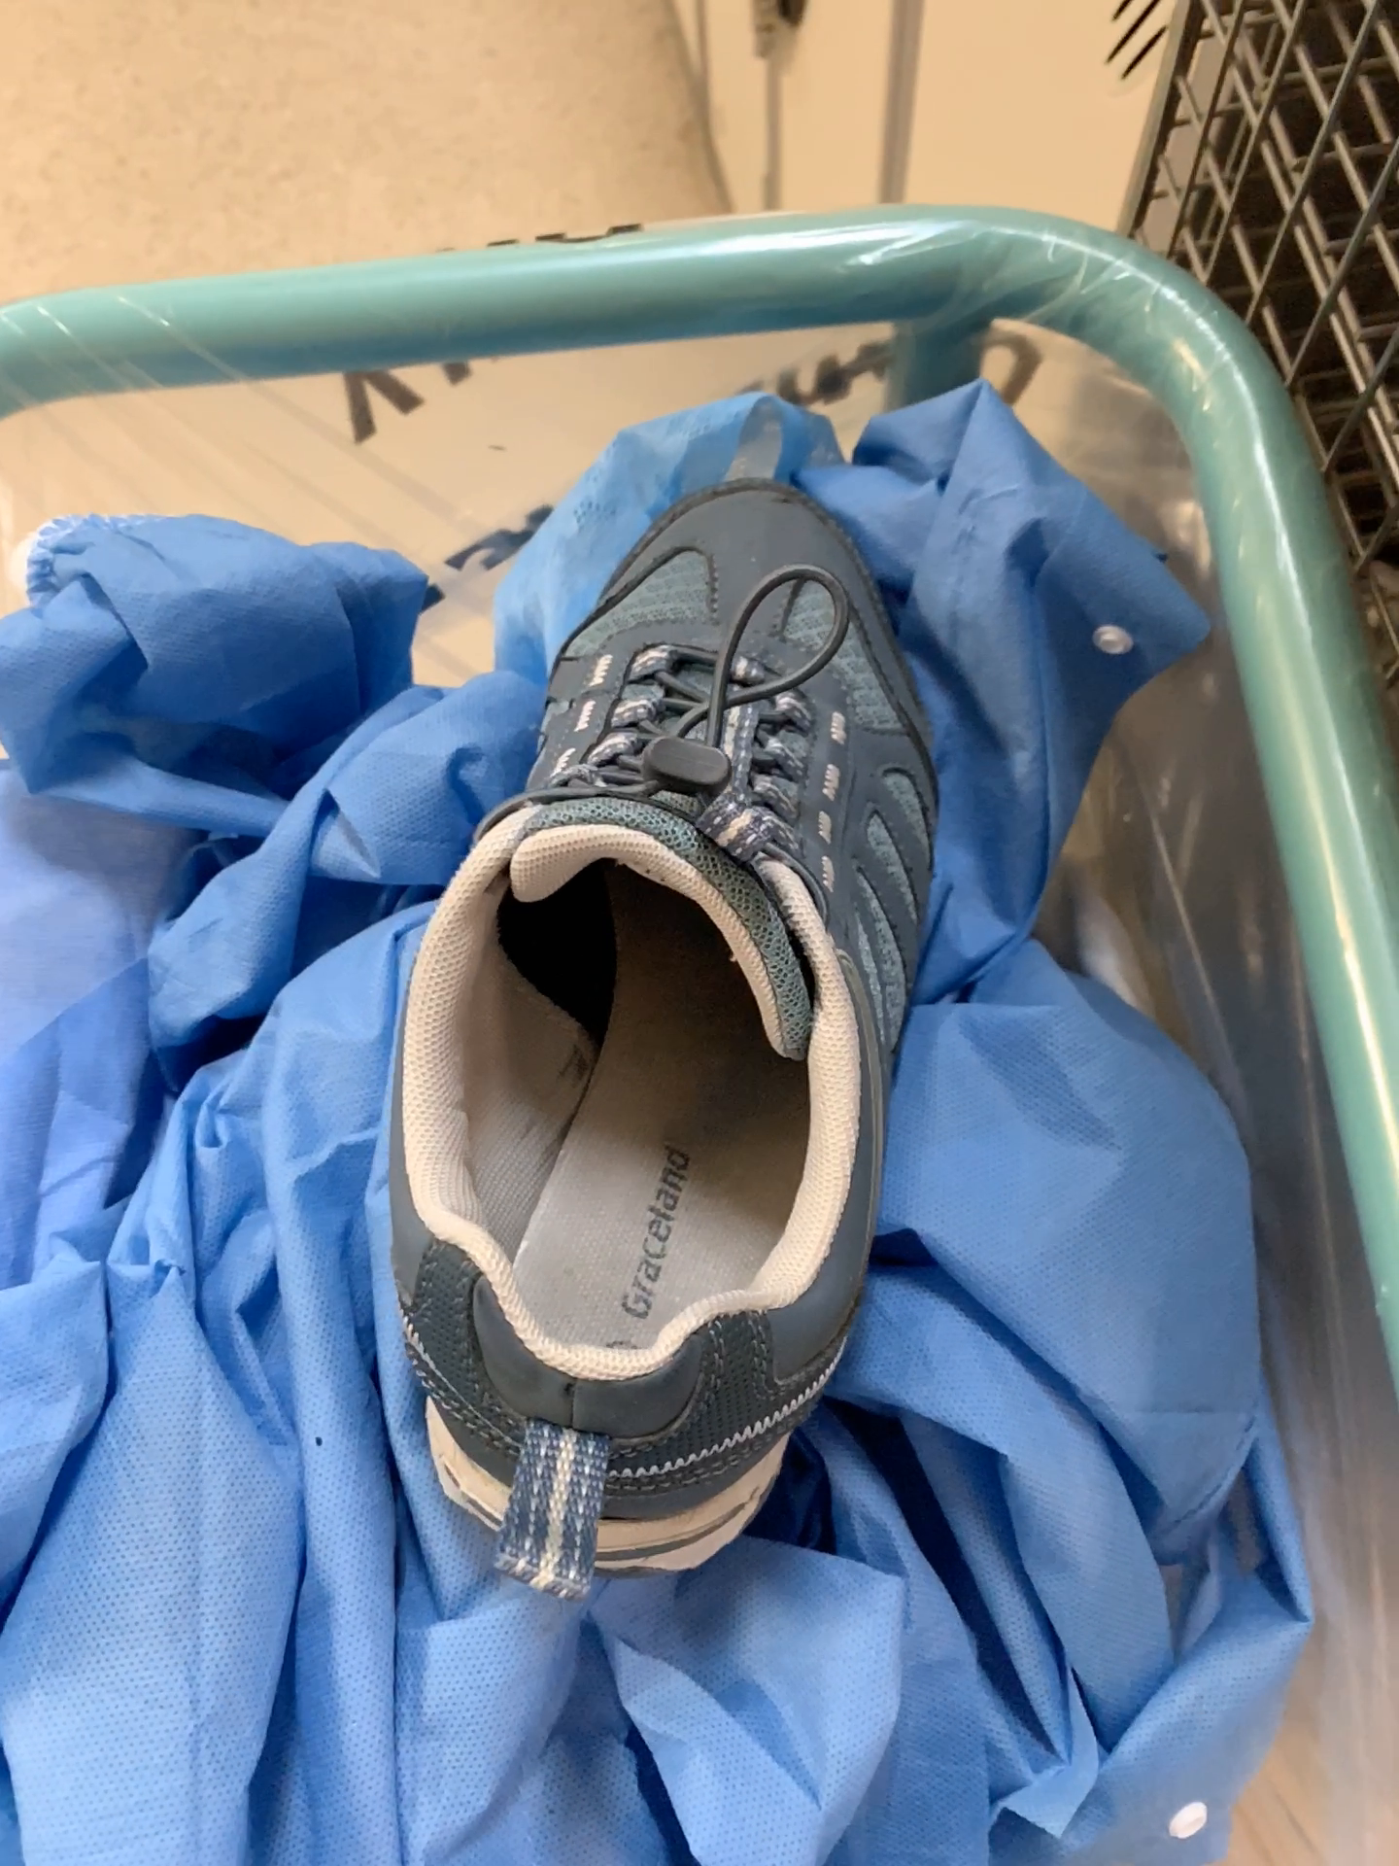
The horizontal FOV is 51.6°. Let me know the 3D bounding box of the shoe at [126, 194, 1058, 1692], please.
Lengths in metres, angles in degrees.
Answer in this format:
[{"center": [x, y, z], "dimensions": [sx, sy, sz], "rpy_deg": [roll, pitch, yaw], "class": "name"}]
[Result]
[{"center": [-0.004, -0.003, 0.284], "dimensions": [0.101, 0.109, 0.241], "rpy_deg": [9, 71, 7], "class": "shoe"}]
